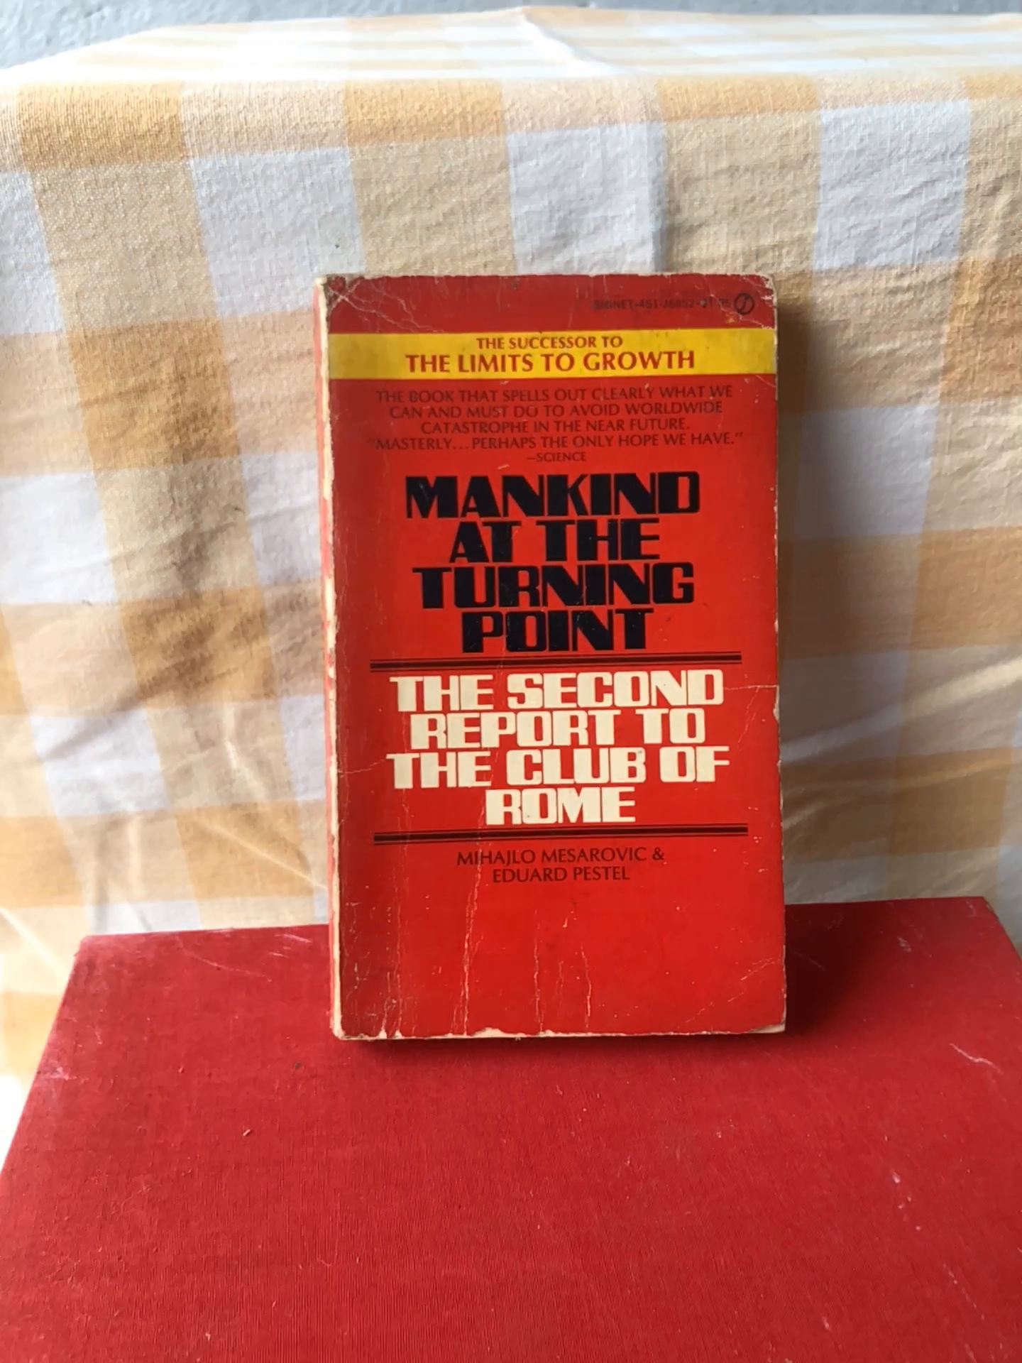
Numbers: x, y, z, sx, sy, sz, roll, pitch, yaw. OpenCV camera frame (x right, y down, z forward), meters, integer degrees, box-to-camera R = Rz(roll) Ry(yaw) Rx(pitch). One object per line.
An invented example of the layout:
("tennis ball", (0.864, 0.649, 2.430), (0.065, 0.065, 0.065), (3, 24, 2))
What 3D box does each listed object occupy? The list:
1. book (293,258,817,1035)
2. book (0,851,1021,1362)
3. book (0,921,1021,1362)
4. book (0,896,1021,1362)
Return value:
("book", (0.011, -0.007, 0.272), (0.110, 0.170, 0.040), (-1, 8, -1))
("book", (0.008, 0.134, 0.295), (0.280, 0.040, 0.191), (-4, 33, 1))
("book", (0.007, 0.151, 0.280), (0.240, 0.040, 0.191), (-4, 33, 1))
("book", (0.004, 0.147, 0.293), (0.270, 0.040, 0.191), (-4, 33, 1))
